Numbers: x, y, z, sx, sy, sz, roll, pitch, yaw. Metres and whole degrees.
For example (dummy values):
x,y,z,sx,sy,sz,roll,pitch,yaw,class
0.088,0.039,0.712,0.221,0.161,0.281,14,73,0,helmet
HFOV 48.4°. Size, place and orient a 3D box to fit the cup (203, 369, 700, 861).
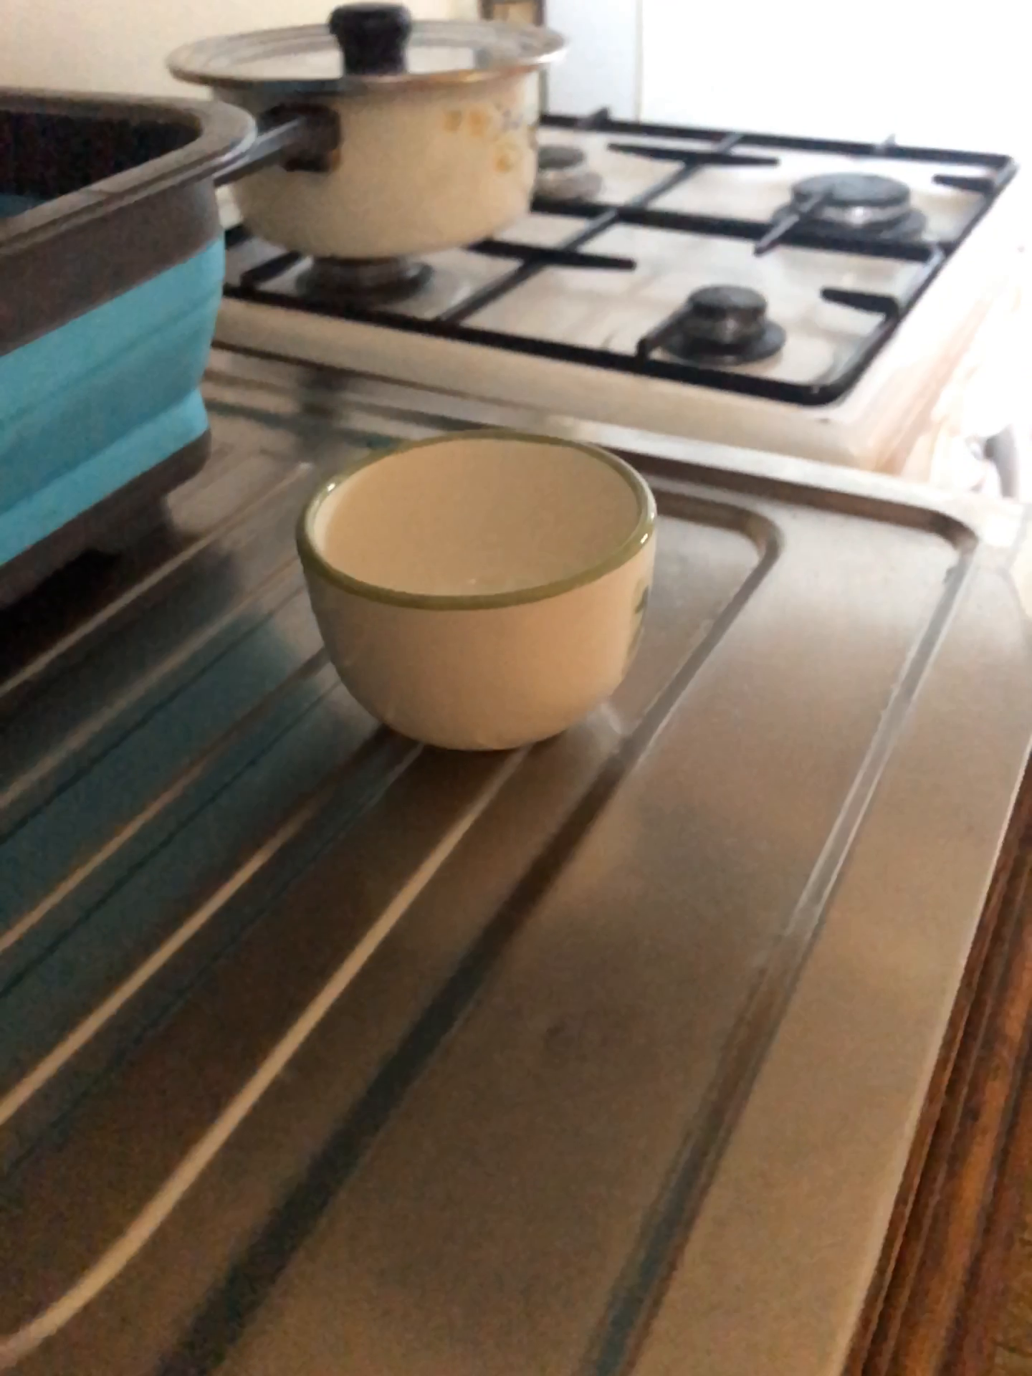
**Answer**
x,y,z,sx,sy,sz,roll,pitch,yaw,class
-0.021,-0.026,0.296,0.090,0.060,0.110,-14,39,-16,cup
